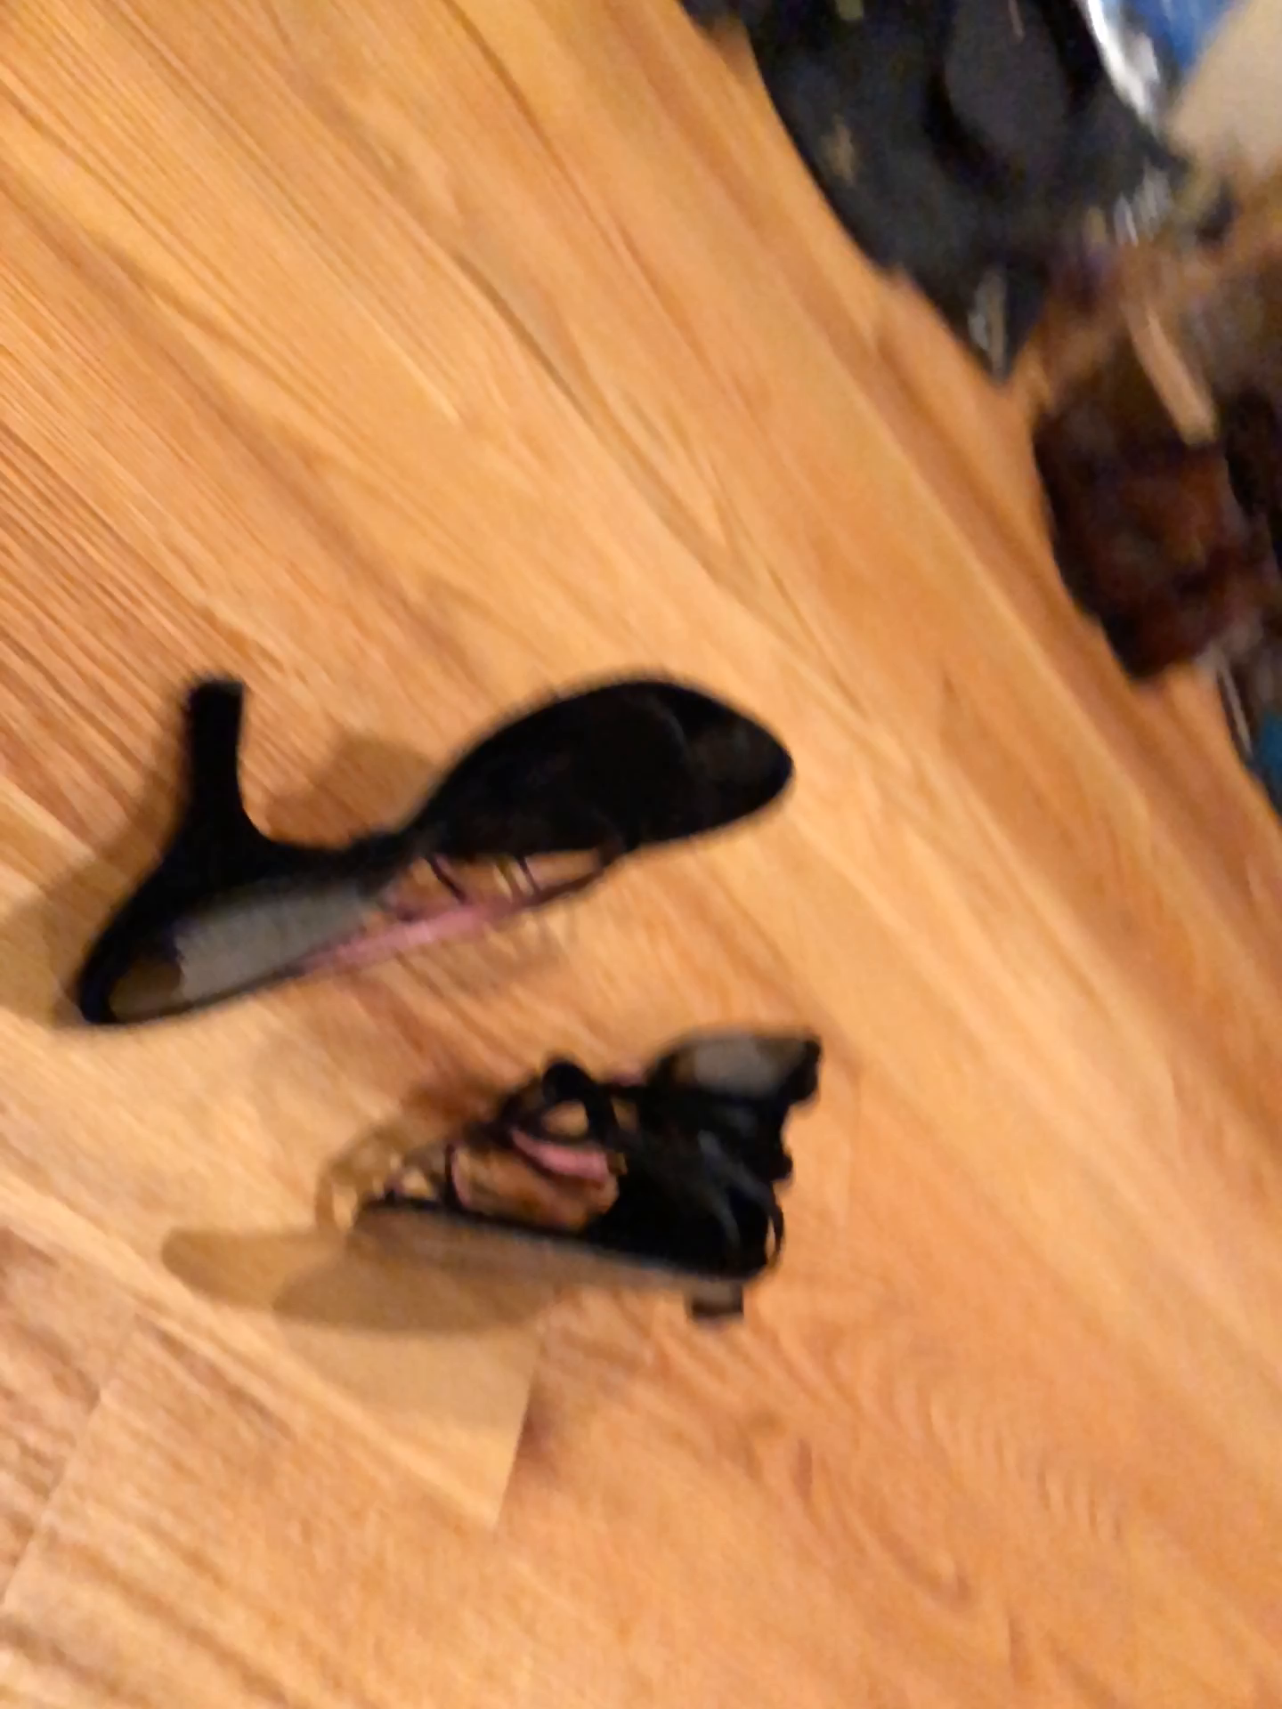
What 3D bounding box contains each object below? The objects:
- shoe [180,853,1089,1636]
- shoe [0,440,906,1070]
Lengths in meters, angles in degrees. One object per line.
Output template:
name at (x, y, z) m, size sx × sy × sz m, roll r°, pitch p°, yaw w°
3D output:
shoe at (0.017, 0.080, 0.363) m, size 0.216 × 0.104 × 0.102 m, roll -15°, pitch 80°, yaw -58°
shoe at (-0.037, -0.027, 0.360) m, size 0.237 × 0.104 × 0.082 m, roll -13°, pitch 81°, yaw -58°
